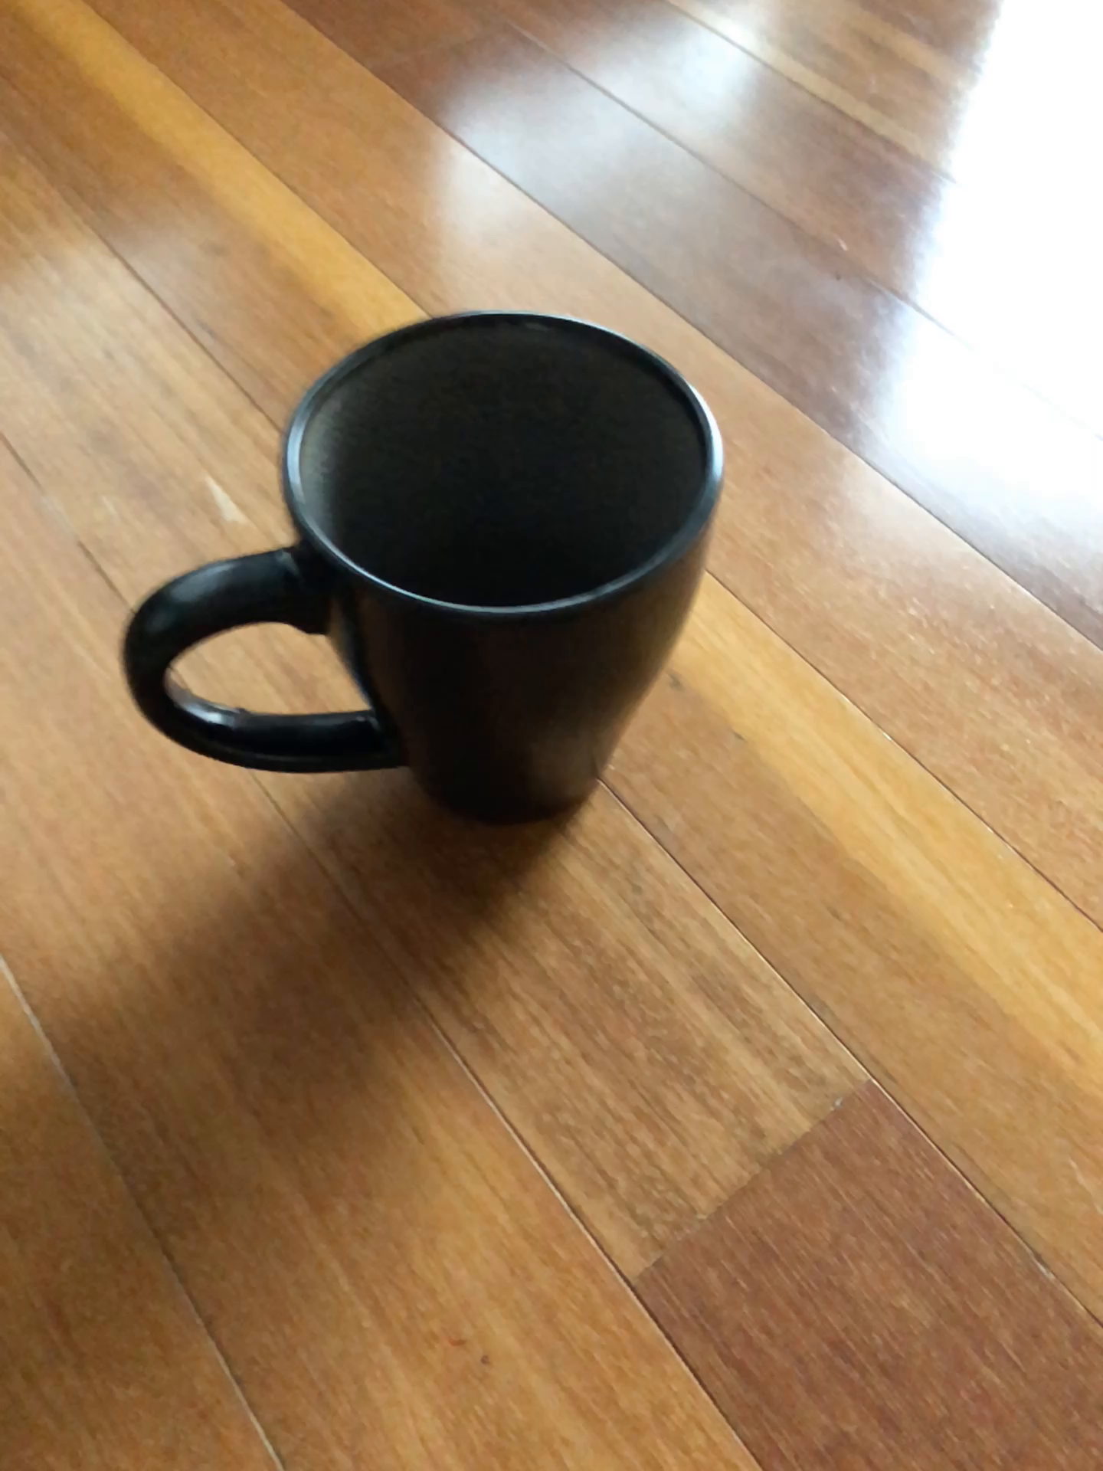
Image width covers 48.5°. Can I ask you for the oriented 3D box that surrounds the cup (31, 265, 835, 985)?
[{"bbox_3d":[-0.027,-0.025,0.283,0.137,0.100,0.090,-18,58,-13],"label":"cup"}]
